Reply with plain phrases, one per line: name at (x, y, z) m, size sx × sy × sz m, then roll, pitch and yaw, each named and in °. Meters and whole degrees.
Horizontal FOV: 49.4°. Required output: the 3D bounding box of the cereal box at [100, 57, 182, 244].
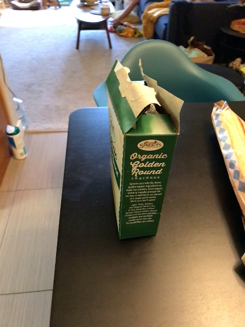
cereal box at (0.014, -0.018, 0.438) m, size 0.080 × 0.248 × 0.171 m, roll -4°, pitch 40°, yaw -6°
